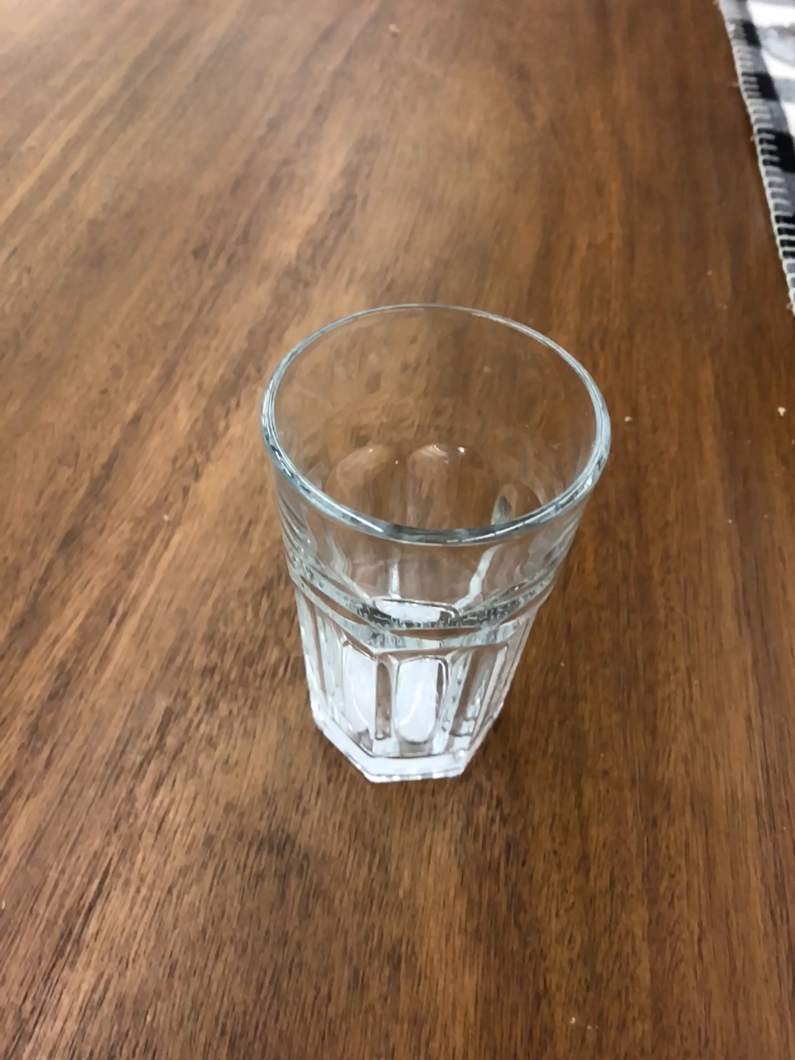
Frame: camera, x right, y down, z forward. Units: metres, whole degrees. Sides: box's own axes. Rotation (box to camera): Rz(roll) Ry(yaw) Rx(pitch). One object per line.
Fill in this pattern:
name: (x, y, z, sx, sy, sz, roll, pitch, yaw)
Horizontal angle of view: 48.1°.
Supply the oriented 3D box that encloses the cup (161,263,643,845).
cup: (0.003, 0.008, 0.201, 0.070, 0.095, 0.072, 1, 50, -2)
